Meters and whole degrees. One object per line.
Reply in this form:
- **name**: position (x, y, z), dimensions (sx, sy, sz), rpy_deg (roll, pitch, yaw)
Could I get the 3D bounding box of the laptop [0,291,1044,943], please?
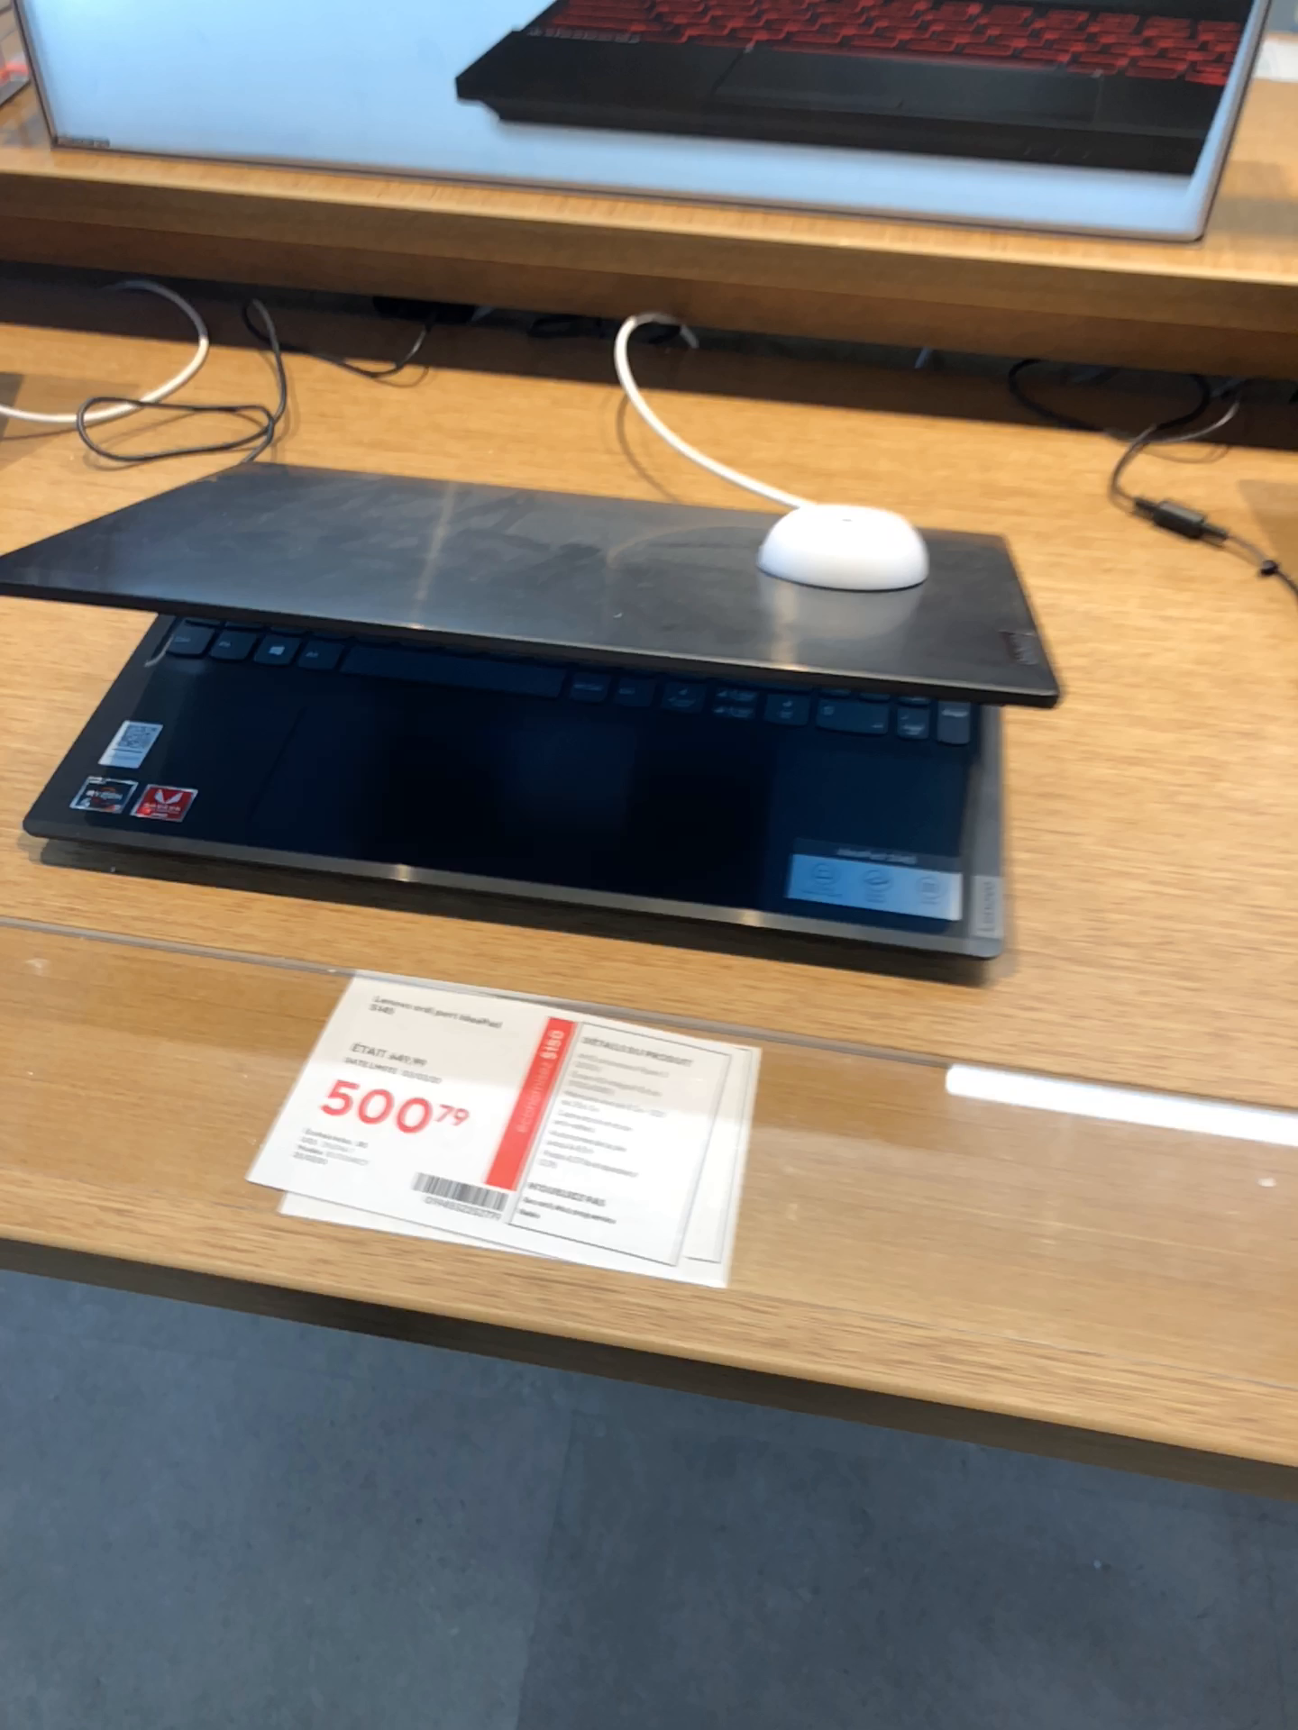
- **laptop**: position (-0.029, -0.104, 0.533), dimensions (0.330, 0.083, 0.224), rpy_deg (7, 49, 3)
